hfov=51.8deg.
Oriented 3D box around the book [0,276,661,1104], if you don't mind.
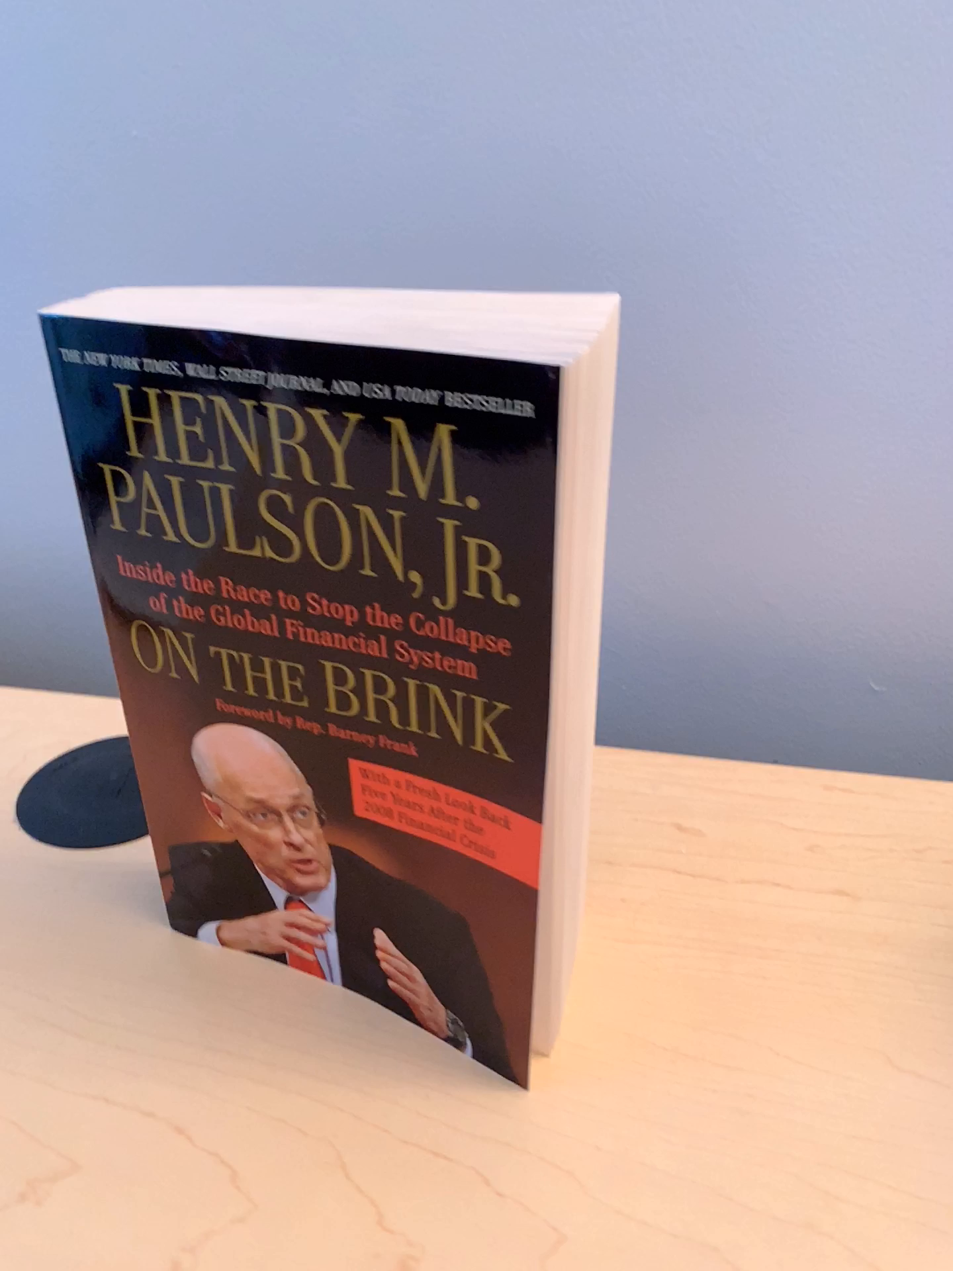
[{"bbox_3d":[-0.039,0.015,0.308,0.167,0.228,0.082,7,28,15],"label":"book"}]
